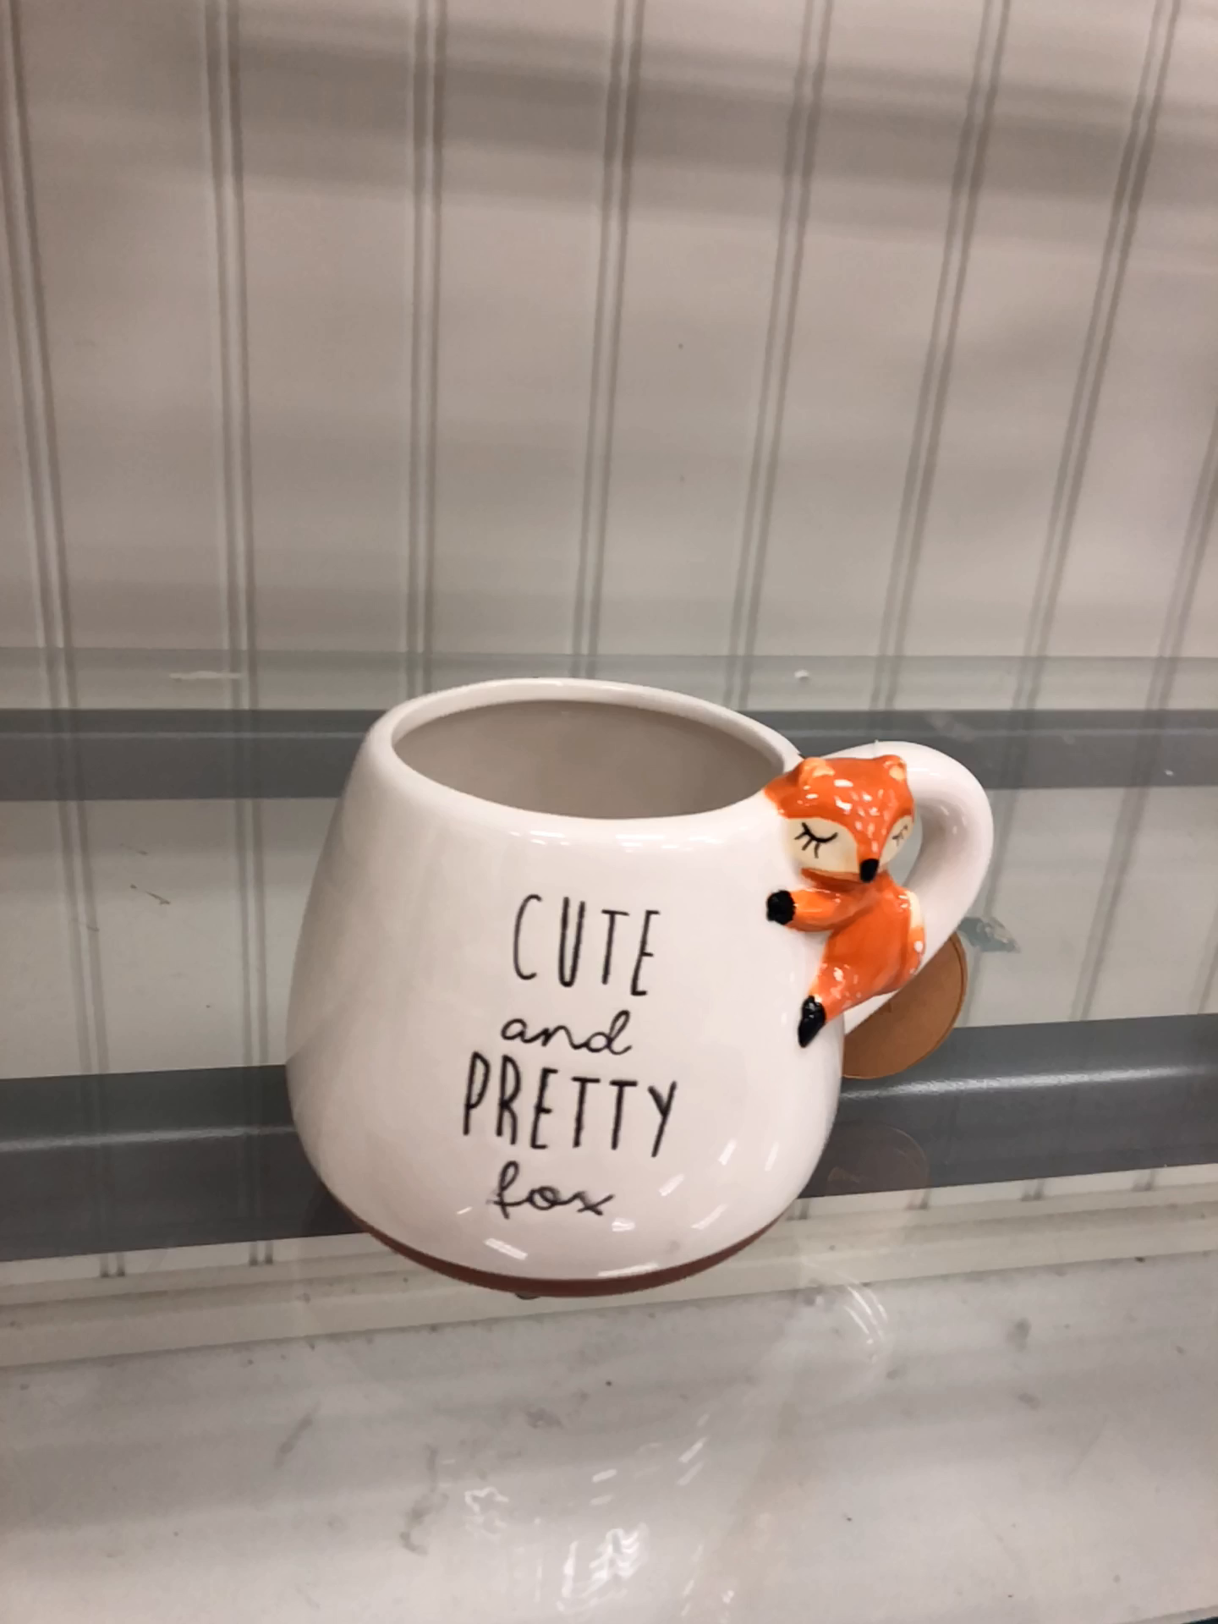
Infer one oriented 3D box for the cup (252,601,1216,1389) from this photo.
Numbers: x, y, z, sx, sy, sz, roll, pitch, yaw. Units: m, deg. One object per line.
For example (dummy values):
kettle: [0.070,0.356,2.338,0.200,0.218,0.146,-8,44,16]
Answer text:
cup: [0.015,0.020,0.260,0.143,0.089,0.101,-7,26,-25]
